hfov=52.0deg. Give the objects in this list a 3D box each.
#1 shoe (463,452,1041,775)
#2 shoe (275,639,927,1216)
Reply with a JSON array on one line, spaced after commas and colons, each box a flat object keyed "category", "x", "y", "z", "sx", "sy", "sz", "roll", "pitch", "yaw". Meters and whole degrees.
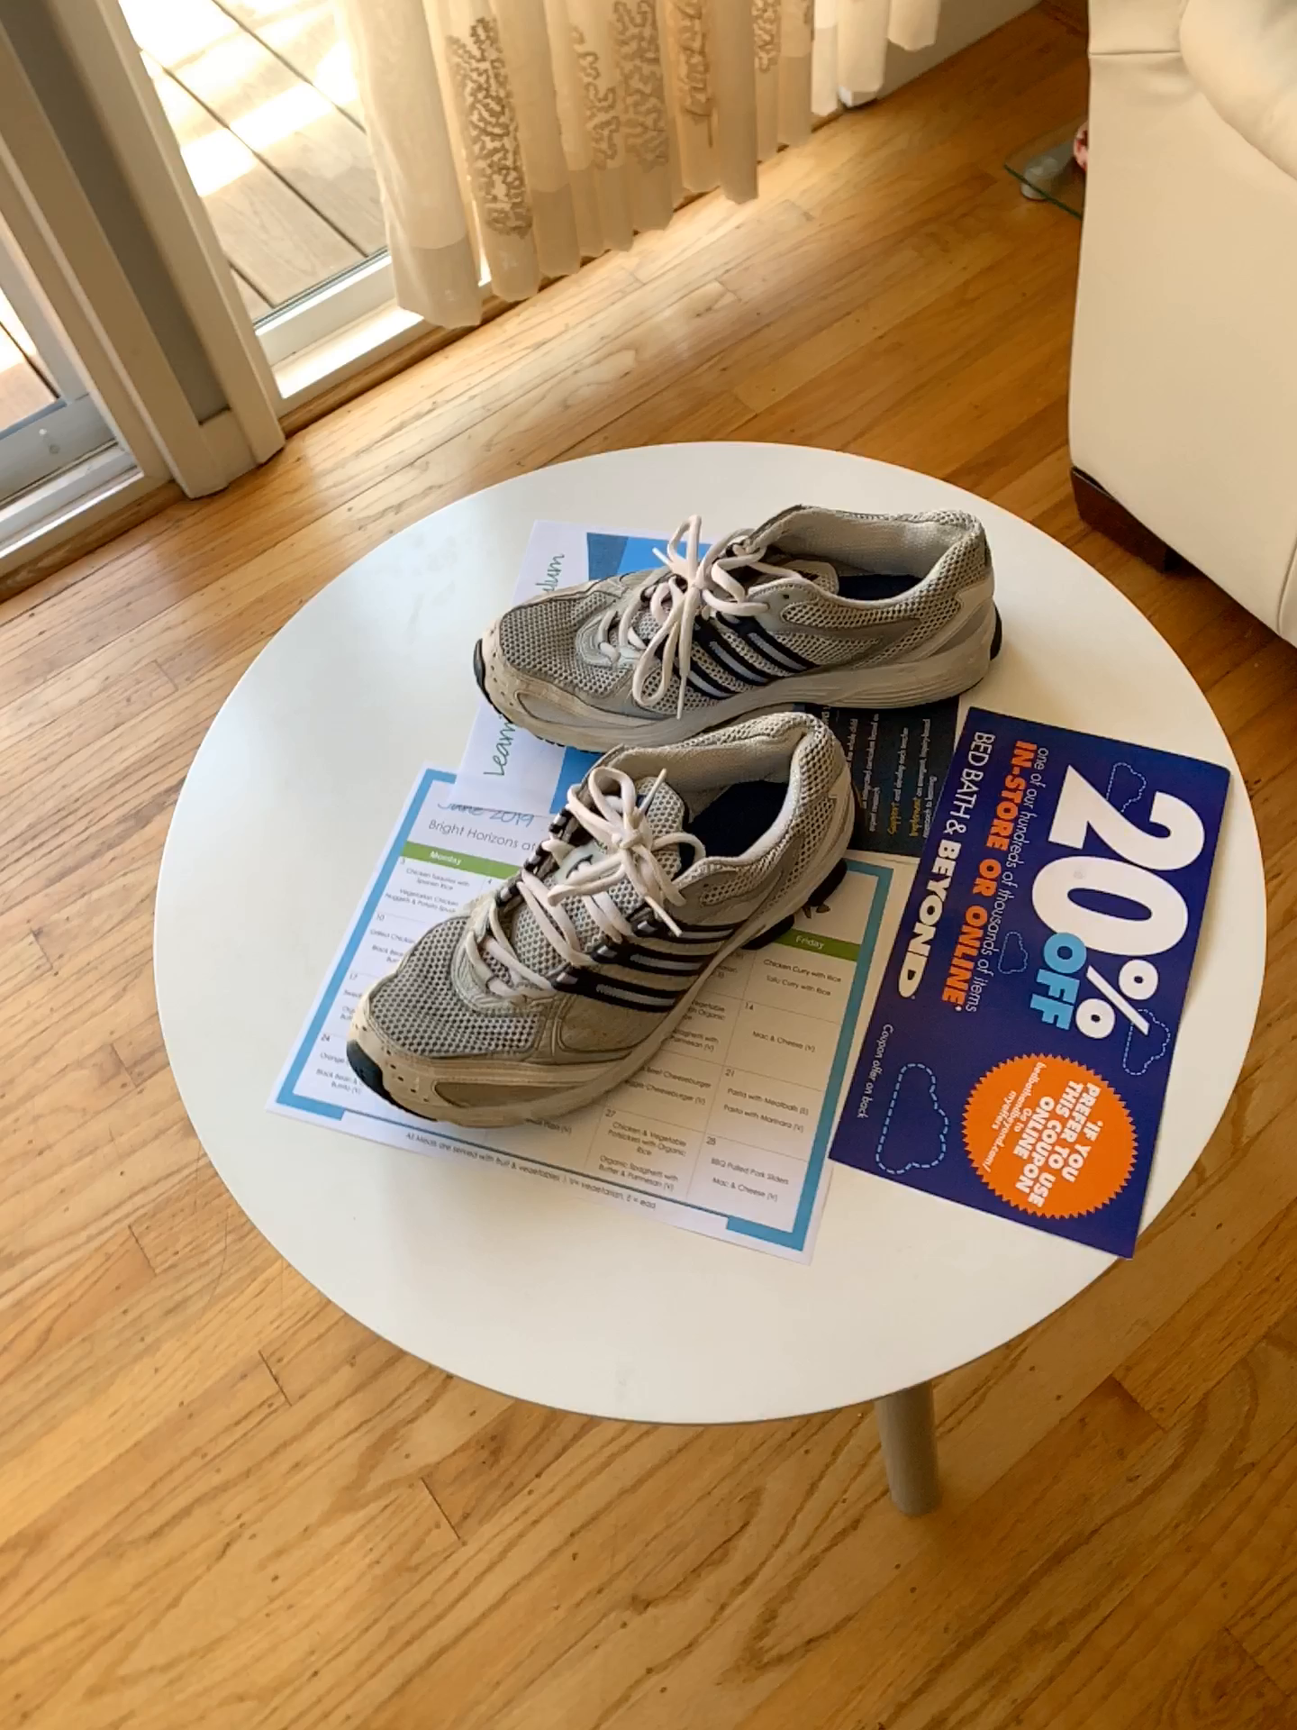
[{"category": "shoe", "x": 0.049, "y": -0.132, "z": 0.706, "sx": 0.280, "sy": 0.080, "sz": 0.110, "roll": -7, "pitch": 60, "yaw": 2}, {"category": "shoe", "x": -0.017, "y": 0.025, "z": 0.638, "sx": 0.280, "sy": 0.080, "sz": 0.120, "roll": -35, "pitch": 63, "yaw": -13}]
